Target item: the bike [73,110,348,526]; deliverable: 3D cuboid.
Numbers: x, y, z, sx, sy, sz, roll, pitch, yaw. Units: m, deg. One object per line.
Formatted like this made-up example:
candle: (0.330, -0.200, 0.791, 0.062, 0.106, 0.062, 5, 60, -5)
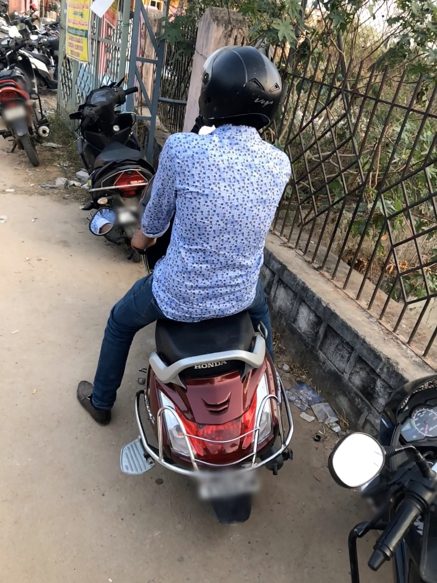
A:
bike: (-0.247, -0.034, 1.999, 0.577, 0.962, 1.495, 1, 31, -20)
